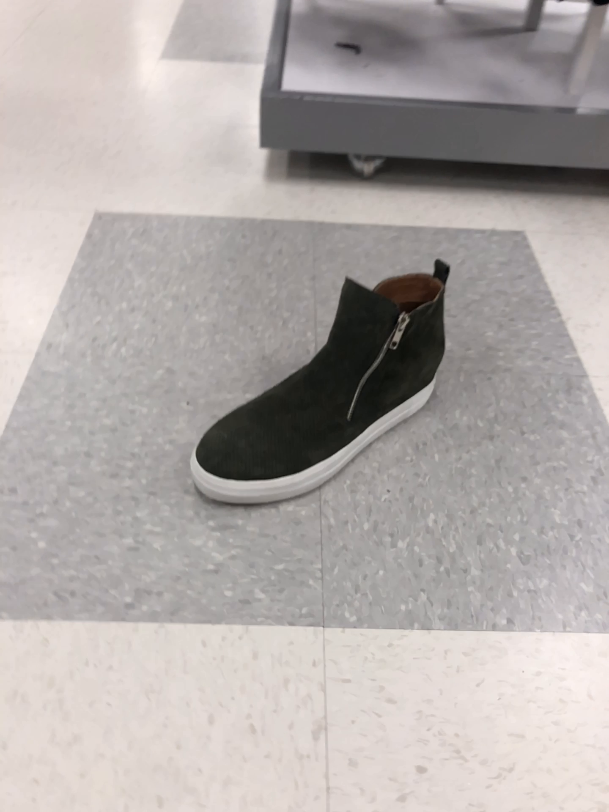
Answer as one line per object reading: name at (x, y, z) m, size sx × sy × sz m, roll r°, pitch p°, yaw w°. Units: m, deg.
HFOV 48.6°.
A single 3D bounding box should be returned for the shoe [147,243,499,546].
shoe at (0.021, -0.021, 0.618) m, size 0.292 × 0.141 × 0.109 m, roll -26°, pitch 53°, yaw -26°
